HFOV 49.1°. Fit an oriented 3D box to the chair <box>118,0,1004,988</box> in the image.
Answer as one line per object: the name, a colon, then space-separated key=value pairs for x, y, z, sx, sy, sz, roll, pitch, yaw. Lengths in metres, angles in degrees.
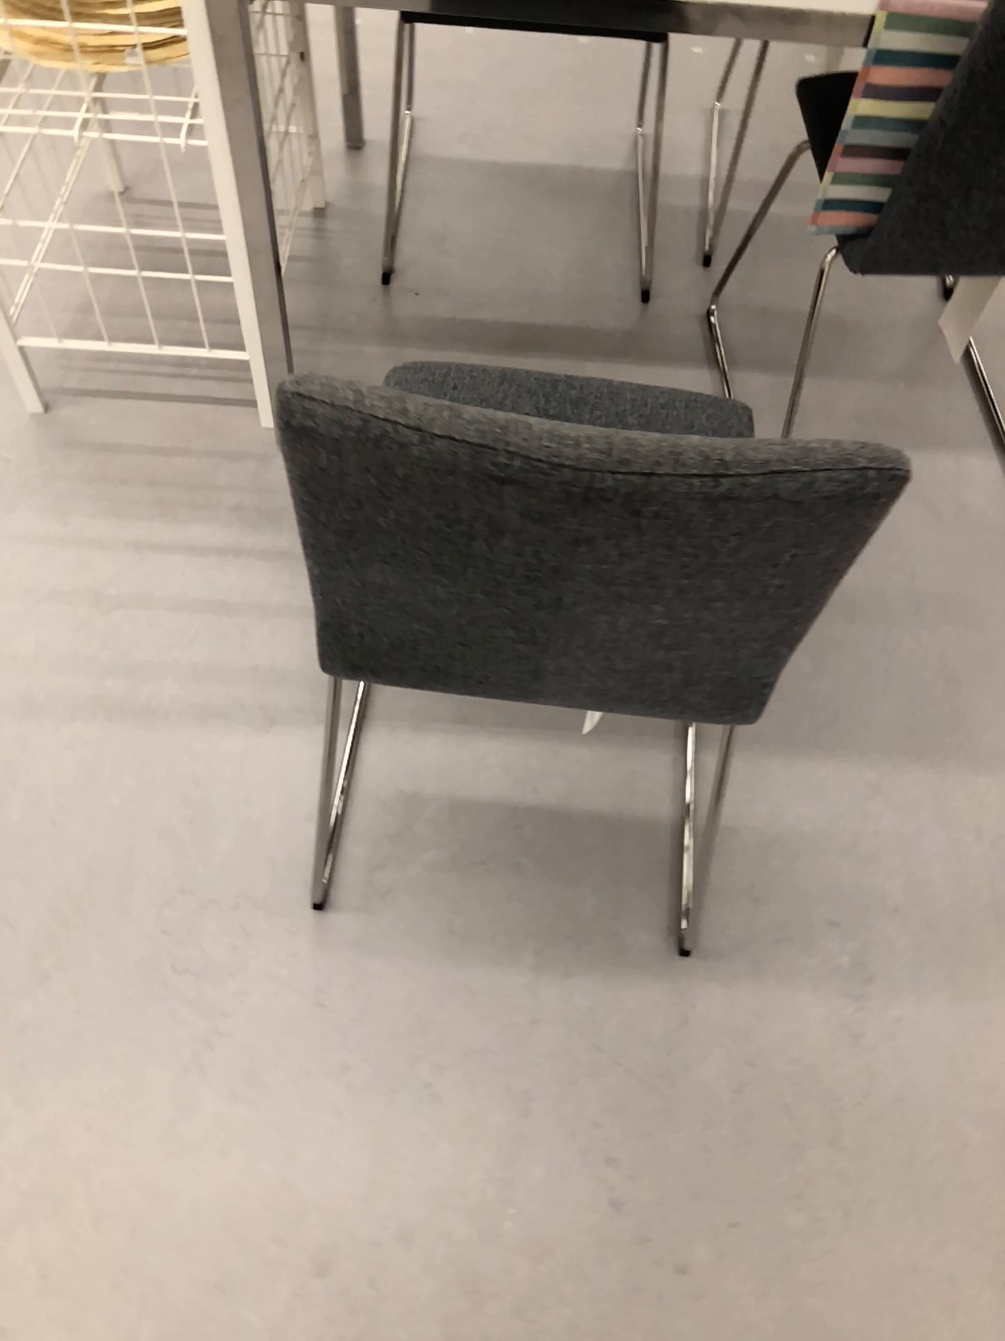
chair: x=0.046 y=-0.119 z=1.127 sx=0.510 sy=0.836 sz=0.593 roll=7 pitch=58 yaw=1
